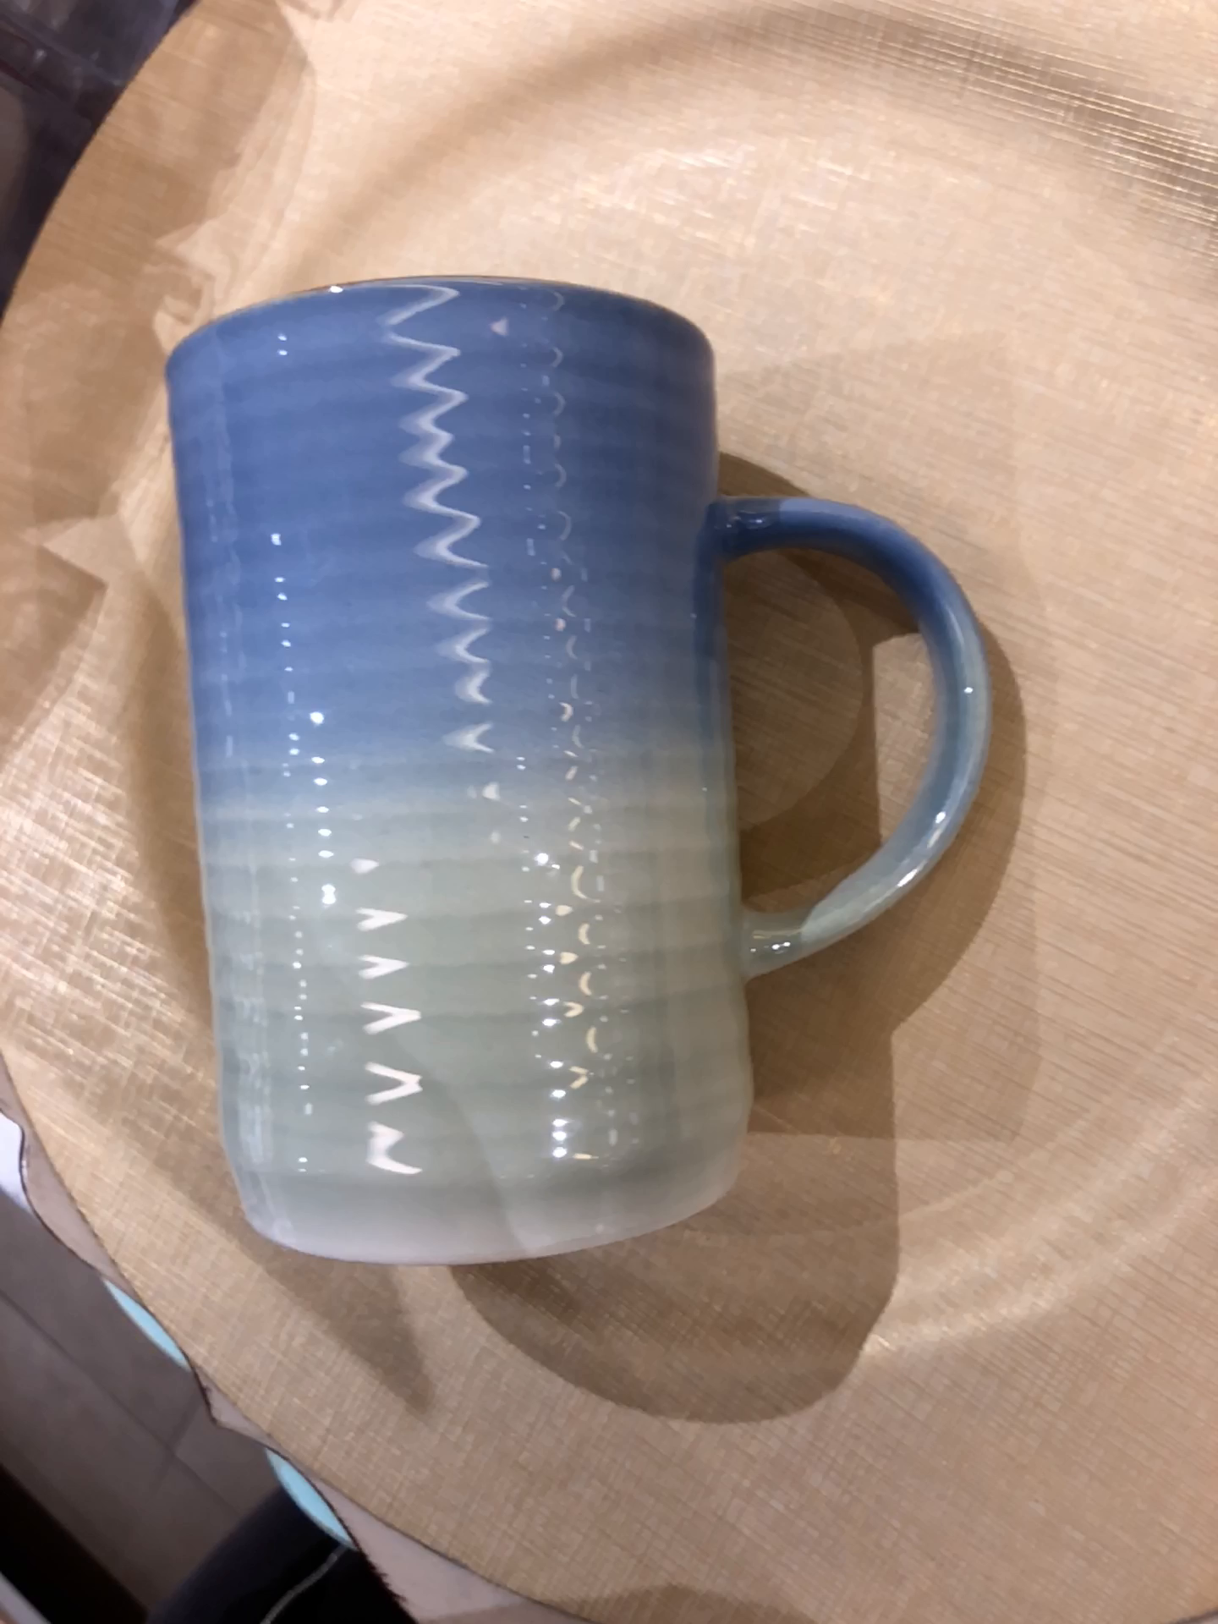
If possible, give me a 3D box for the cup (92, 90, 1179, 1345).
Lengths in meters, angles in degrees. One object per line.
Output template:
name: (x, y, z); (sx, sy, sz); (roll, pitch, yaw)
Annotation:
cup: (0.002, -0.009, 0.188); (0.120, 0.060, 0.140); (-3, 87, 4)
